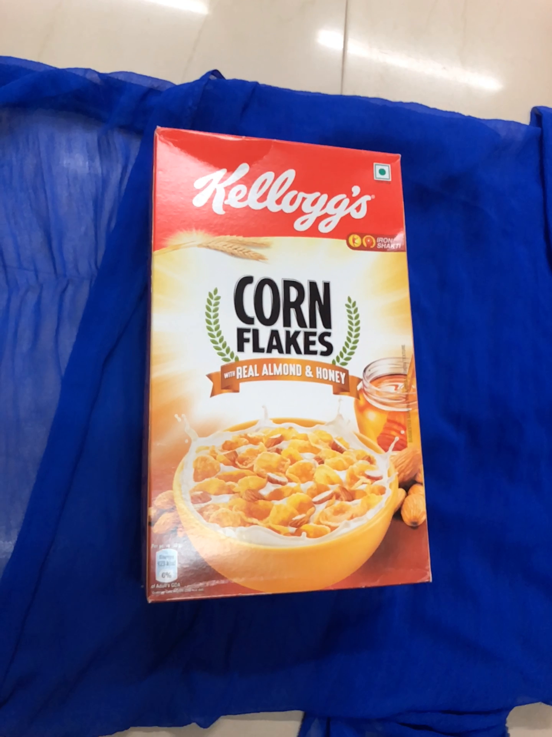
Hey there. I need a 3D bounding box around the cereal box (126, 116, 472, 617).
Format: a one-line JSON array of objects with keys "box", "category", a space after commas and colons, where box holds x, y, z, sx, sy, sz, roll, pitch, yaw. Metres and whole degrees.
[{"box": [0.008, -0.001, 0.431, 0.210, 0.090, 0.300, 2, 79, -15], "category": "cereal box"}]
